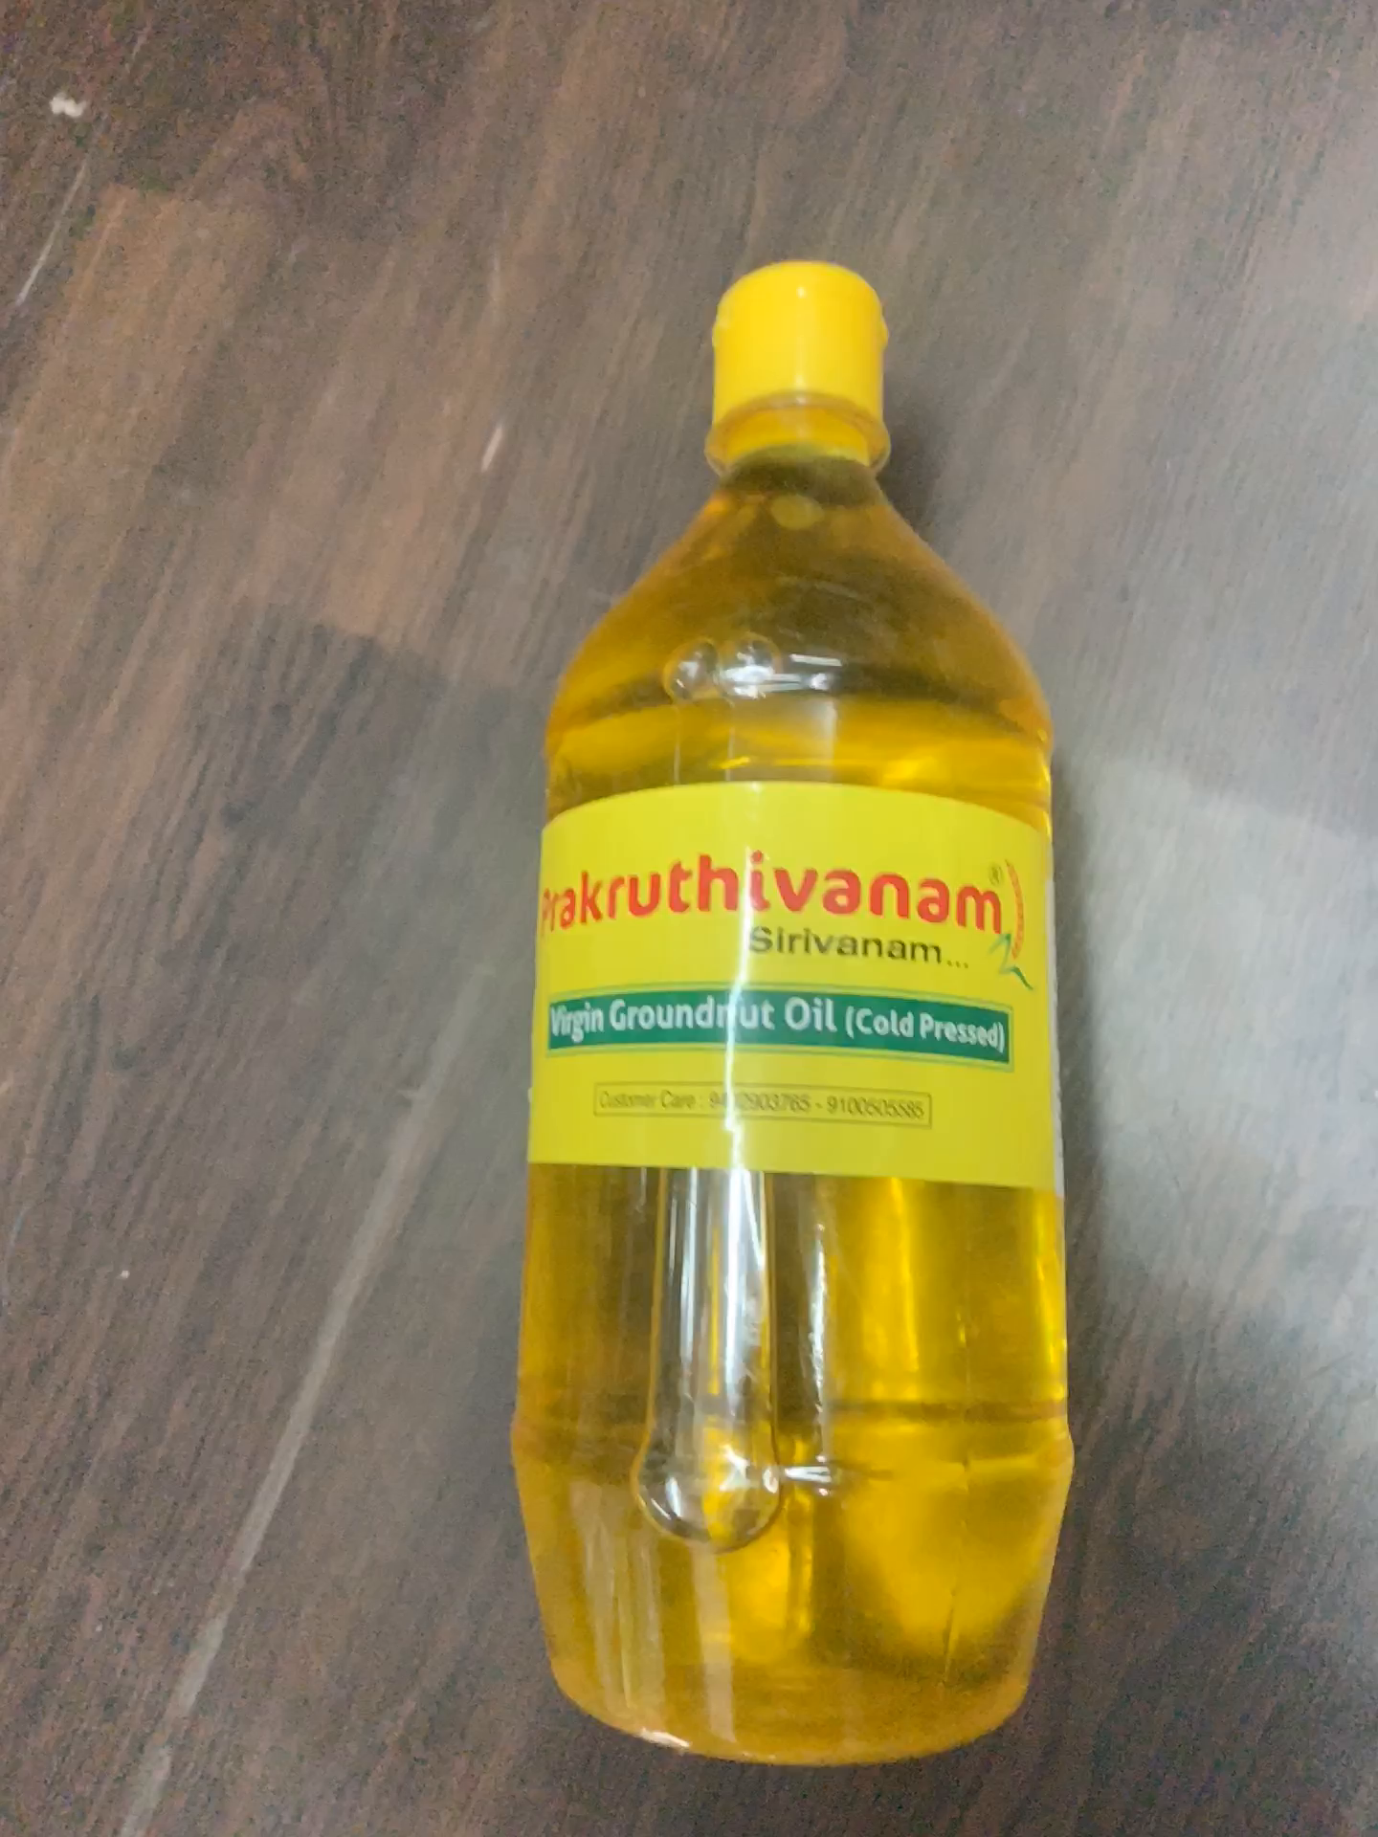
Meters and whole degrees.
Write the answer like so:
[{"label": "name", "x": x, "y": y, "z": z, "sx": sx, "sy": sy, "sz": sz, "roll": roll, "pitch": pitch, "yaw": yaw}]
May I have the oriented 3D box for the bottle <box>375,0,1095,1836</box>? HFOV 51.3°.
[{"label": "bottle", "x": 0.016, "y": -0.012, "z": 0.238, "sx": 0.090, "sy": 0.080, "sz": 0.260, "roll": -1, "pitch": 79, "yaw": 13}]
